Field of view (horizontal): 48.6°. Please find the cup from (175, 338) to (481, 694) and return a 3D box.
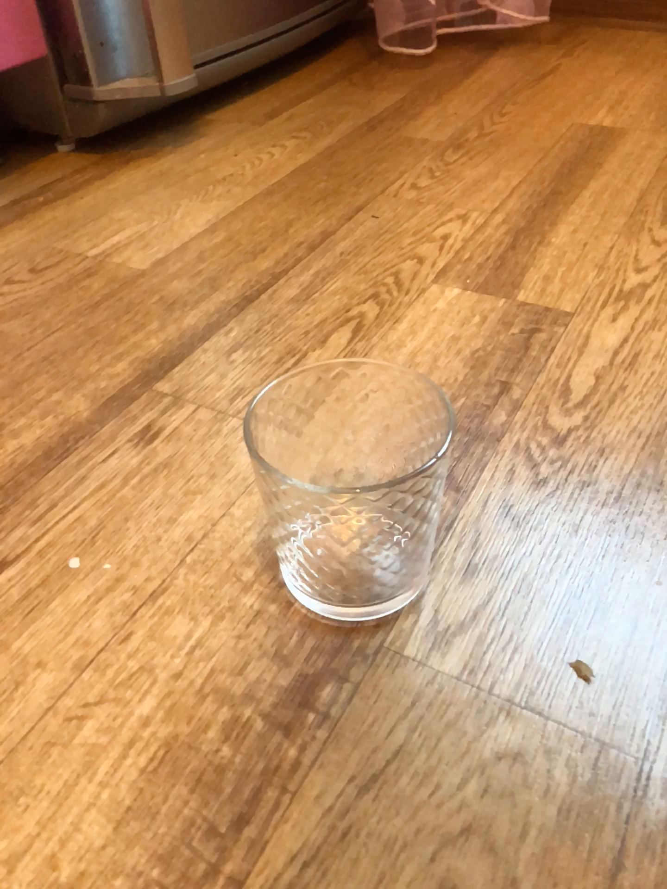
[{"bbox_3d":[0.002,0.025,0.291,0.080,0.090,0.080,-2,40,2],"label":"cup"}]
